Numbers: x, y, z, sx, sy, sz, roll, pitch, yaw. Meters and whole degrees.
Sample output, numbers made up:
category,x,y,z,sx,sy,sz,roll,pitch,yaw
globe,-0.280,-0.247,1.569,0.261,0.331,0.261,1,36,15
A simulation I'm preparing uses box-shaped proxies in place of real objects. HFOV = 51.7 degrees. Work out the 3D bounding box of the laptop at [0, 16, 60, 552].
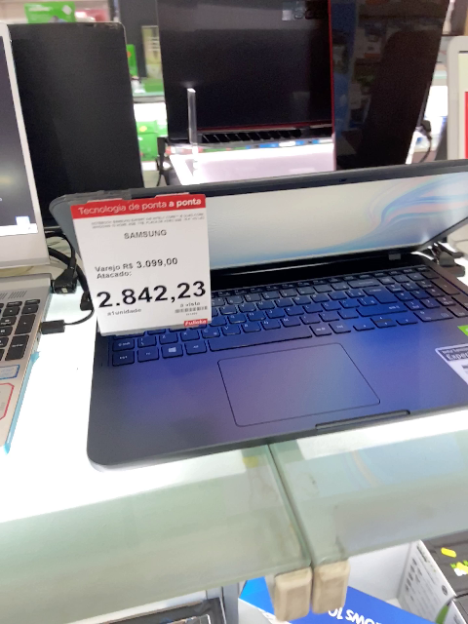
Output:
category,x,y,z,sx,sy,sz,roll,pitch,yaw
laptop,-0.368,-0.080,0.372,0.368,0.240,0.333,-7,31,-9

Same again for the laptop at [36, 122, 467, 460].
category,x,y,z,sx,sy,sz,roll,pitch,yaw
laptop,0.062,-0.051,0.397,0.365,0.146,0.232,-8,30,-10
